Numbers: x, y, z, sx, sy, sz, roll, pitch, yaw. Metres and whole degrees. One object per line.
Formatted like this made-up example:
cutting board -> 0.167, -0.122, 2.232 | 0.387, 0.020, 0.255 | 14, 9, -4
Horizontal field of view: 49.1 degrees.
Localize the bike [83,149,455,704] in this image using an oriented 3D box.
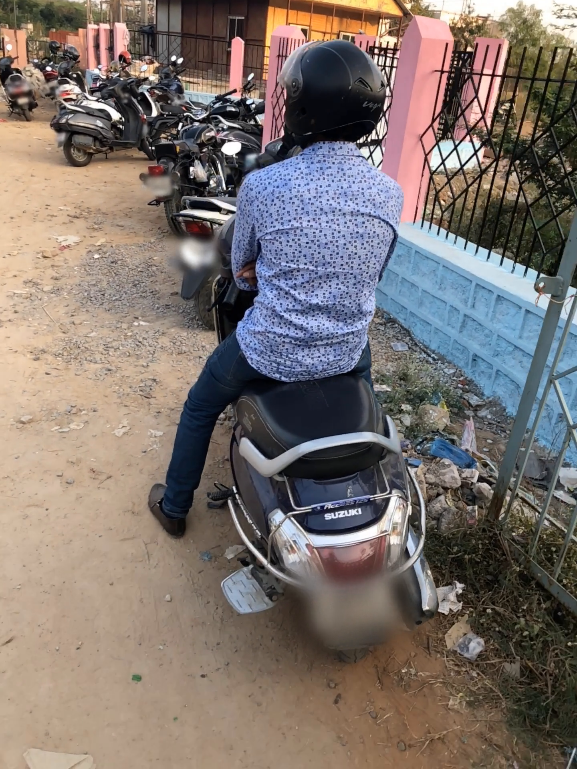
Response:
bike -> -0.248, 0.010, 2.014 | 0.593, 1.013, 1.400 | -4, 33, -19
